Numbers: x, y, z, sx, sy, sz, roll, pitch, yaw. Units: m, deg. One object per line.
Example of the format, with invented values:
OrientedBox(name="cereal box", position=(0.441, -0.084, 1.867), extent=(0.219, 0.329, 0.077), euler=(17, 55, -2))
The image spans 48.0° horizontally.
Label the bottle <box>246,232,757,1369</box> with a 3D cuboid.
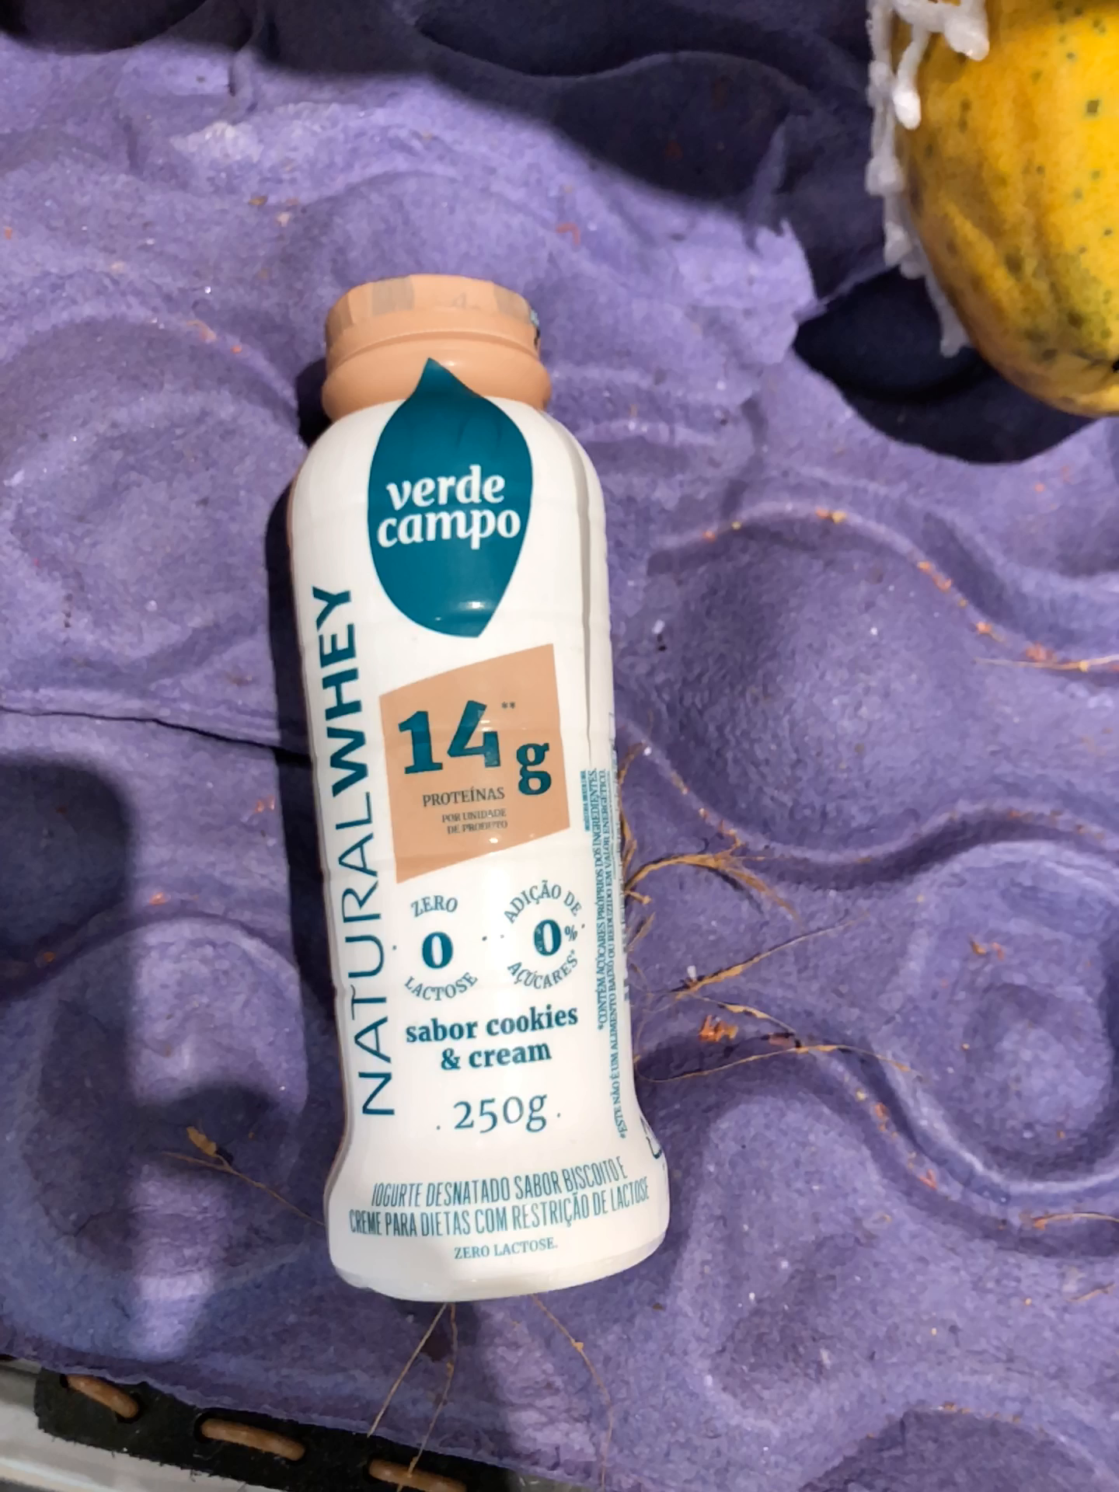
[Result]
OrientedBox(name="bottle", position=(-0.013, 0.003, 0.201), extent=(0.060, 0.040, 0.160), euler=(-4, 82, -11))
